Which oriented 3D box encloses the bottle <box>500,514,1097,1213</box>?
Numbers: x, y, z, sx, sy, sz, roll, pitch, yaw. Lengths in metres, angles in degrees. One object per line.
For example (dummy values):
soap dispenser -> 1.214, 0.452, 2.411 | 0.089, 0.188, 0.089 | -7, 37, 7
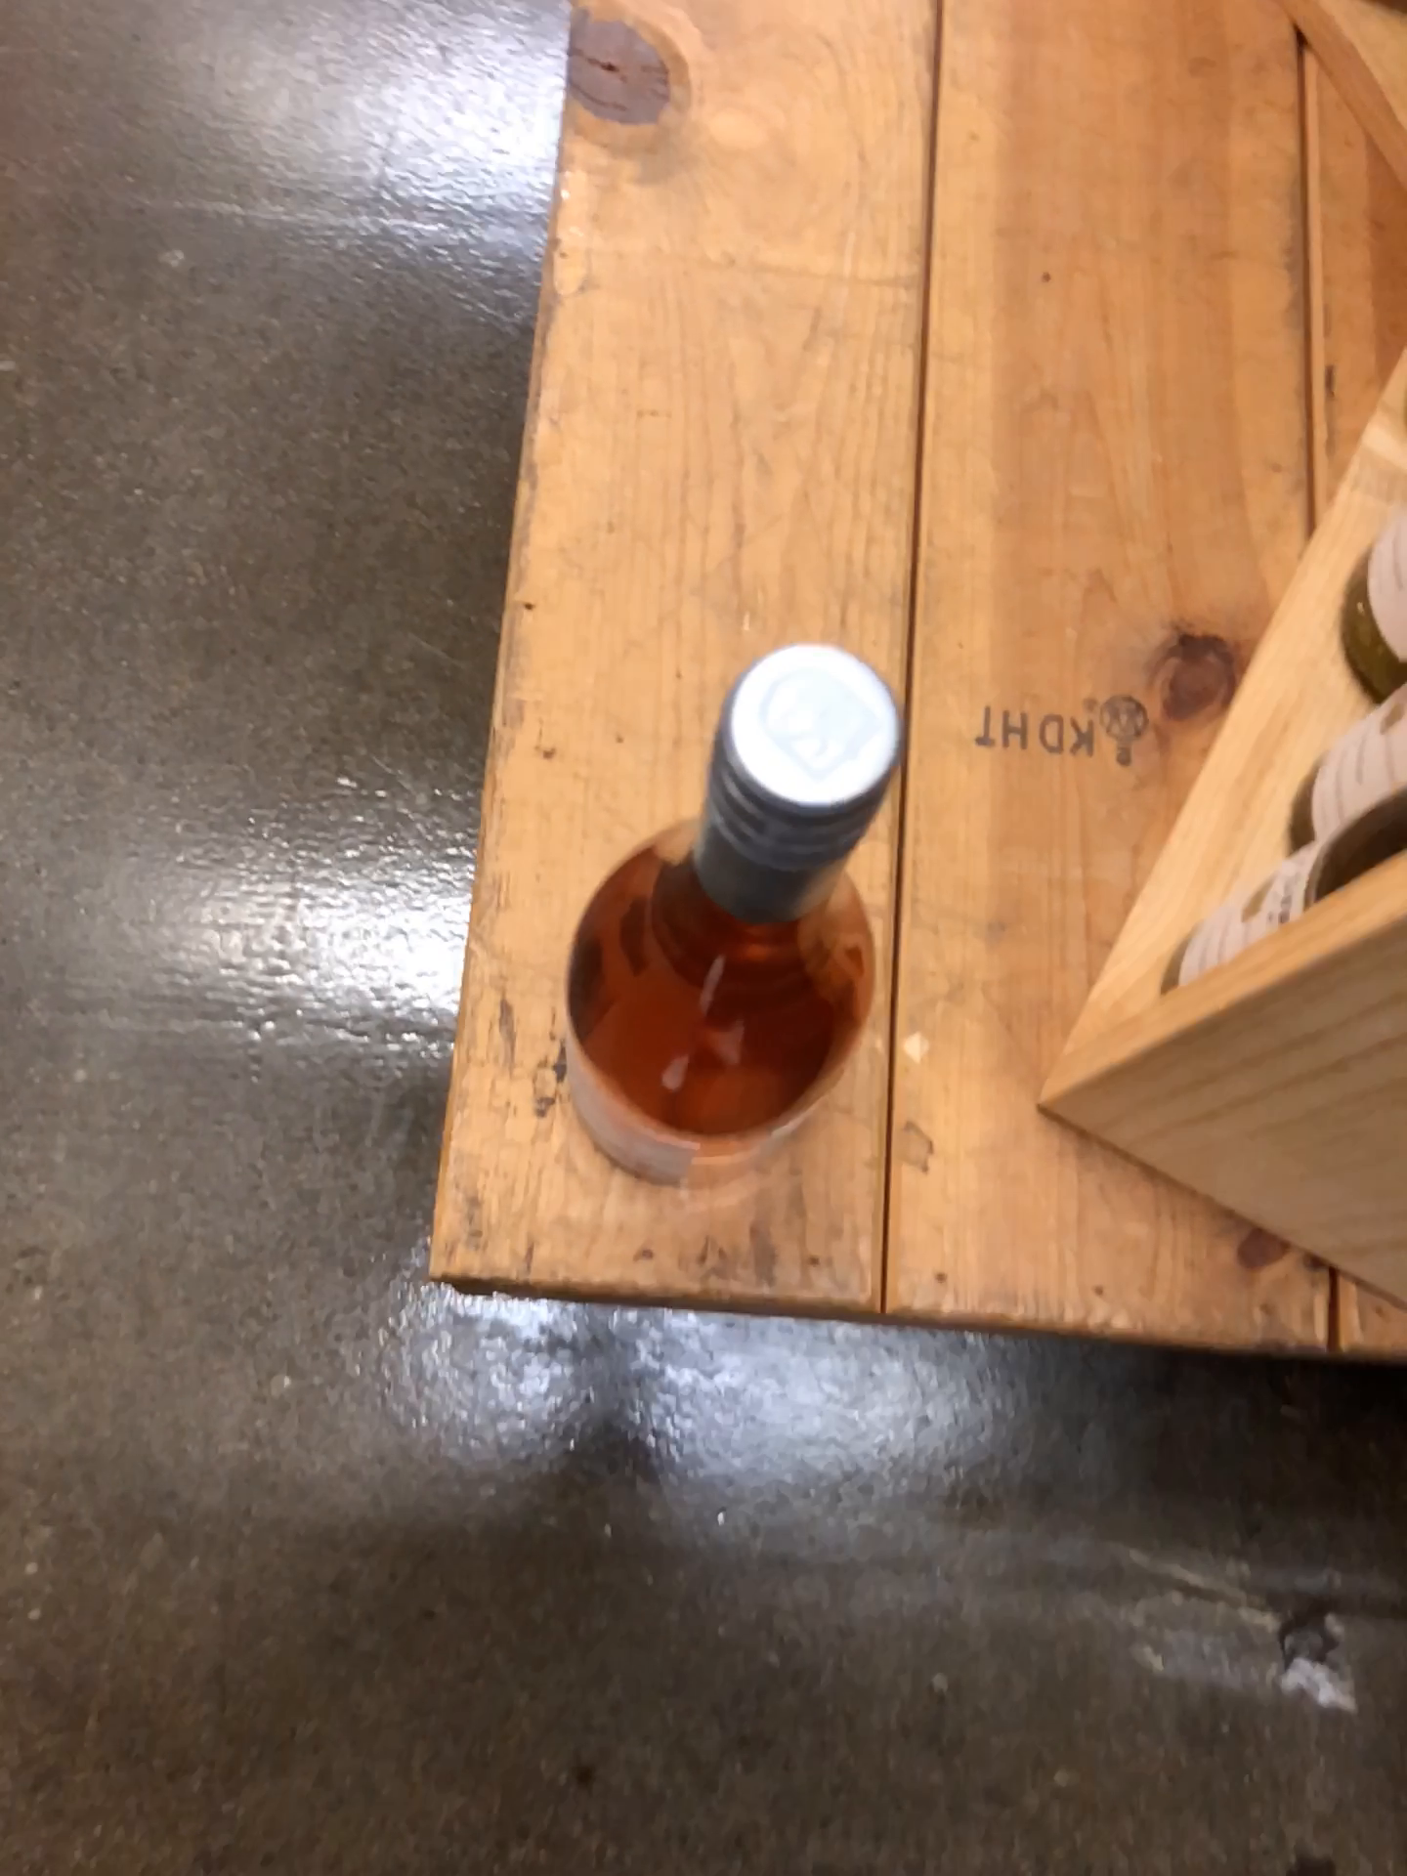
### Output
bottle -> 0.004, 0.013, 0.381 | 0.081, 0.310, 0.080 | 1, 76, -3
